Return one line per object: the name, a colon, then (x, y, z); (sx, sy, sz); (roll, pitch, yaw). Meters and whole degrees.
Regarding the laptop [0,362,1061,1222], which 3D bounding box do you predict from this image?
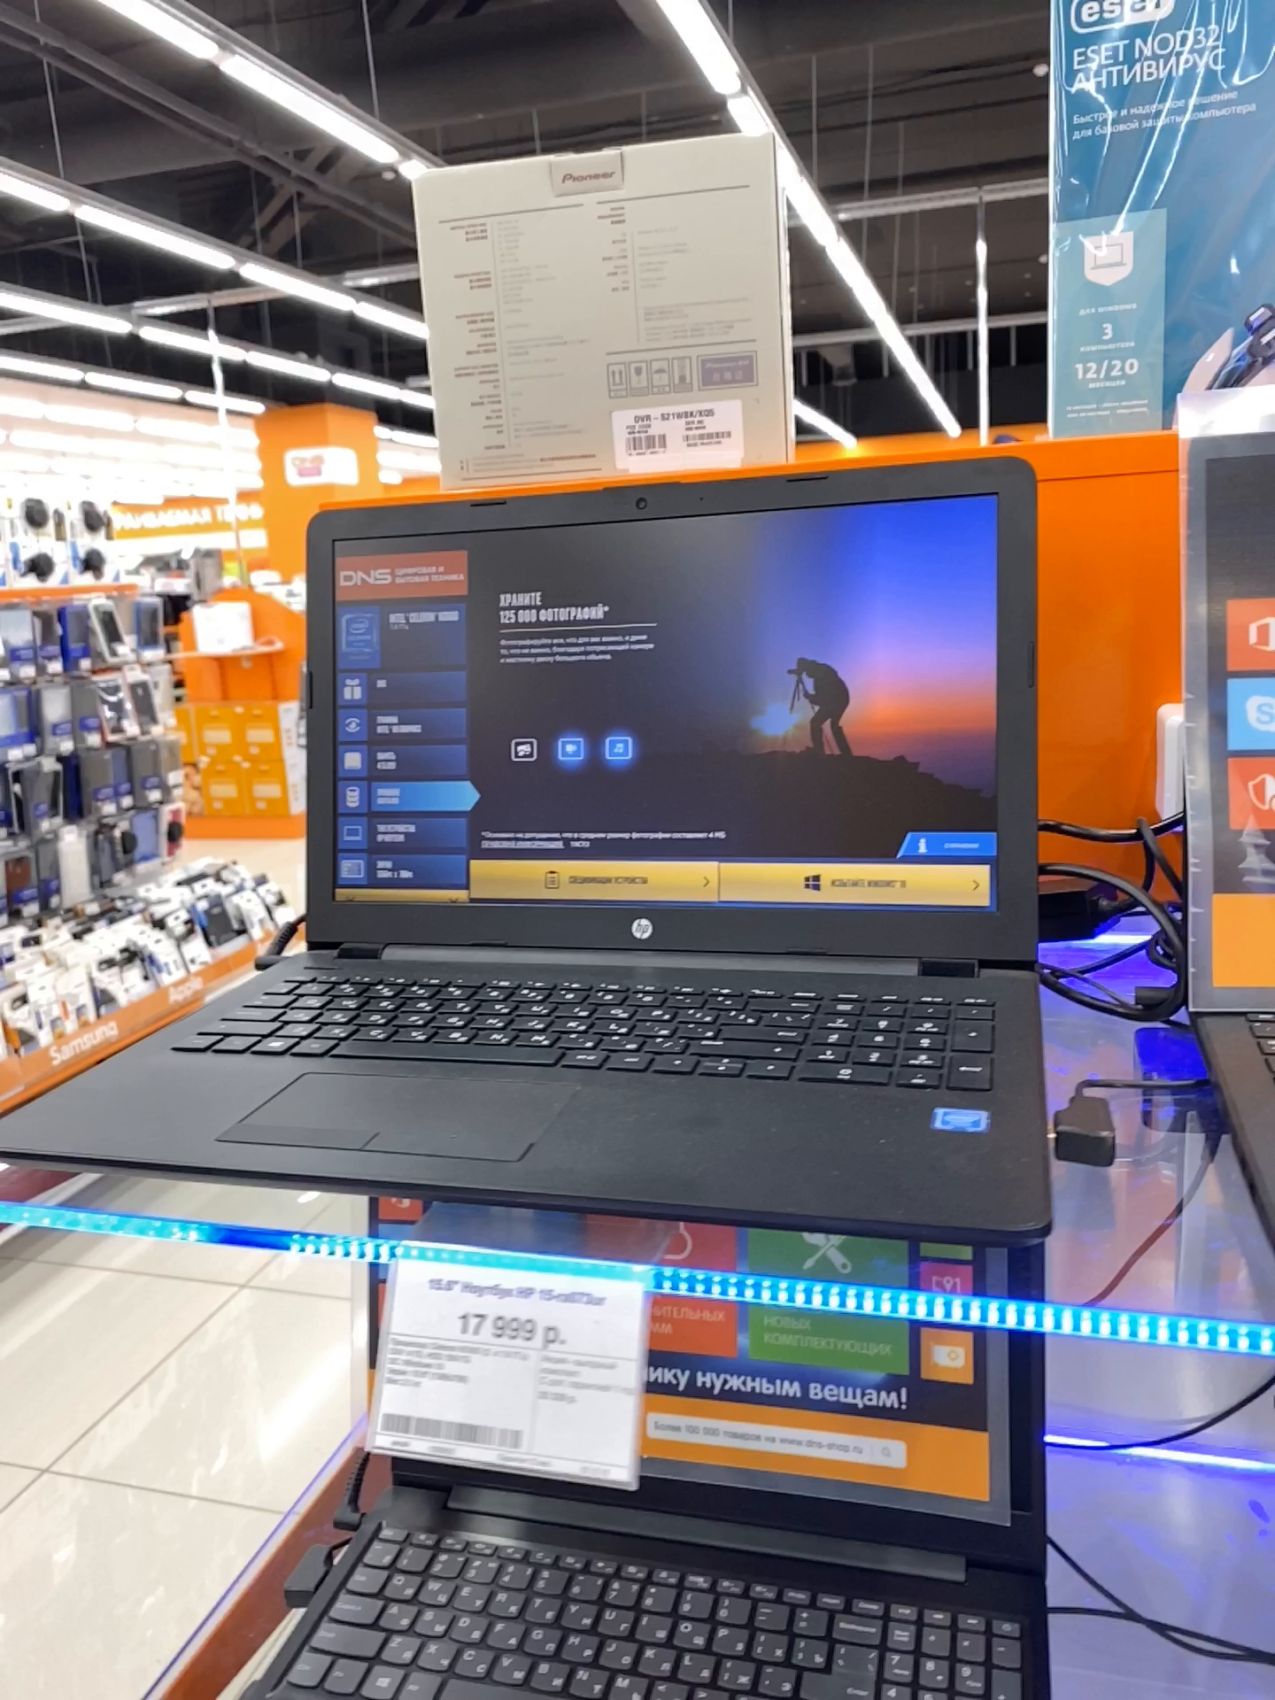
laptop: (-0.030, -0.042, 0.566); (0.388, 0.236, 0.323); (0, 11, 16)
